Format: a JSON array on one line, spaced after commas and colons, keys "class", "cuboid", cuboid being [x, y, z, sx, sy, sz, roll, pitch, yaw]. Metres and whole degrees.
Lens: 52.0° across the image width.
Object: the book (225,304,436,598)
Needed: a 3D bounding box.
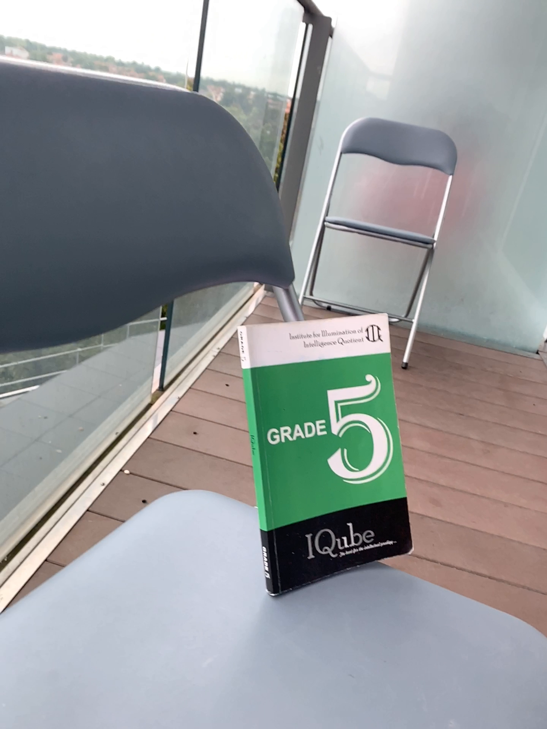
[{"class": "book", "cuboid": [0.050, 0.061, 0.471, 0.150, 0.210, 0.040, -7, -2, -28]}]
